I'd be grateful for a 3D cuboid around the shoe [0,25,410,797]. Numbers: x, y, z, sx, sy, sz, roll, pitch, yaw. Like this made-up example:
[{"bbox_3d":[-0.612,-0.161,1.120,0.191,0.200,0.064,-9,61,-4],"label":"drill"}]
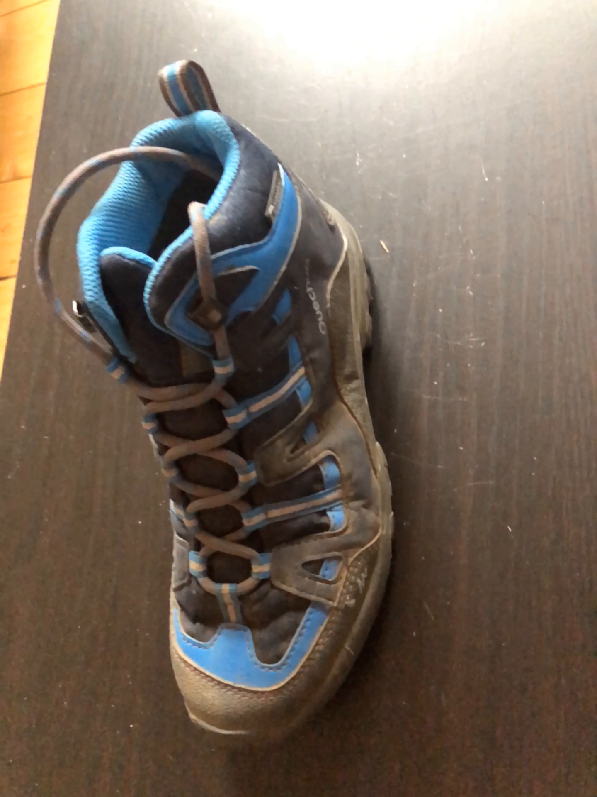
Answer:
[{"bbox_3d":[-0.025,0.014,0.264,0.100,0.120,0.250,-1,77,24],"label":"shoe"}]
